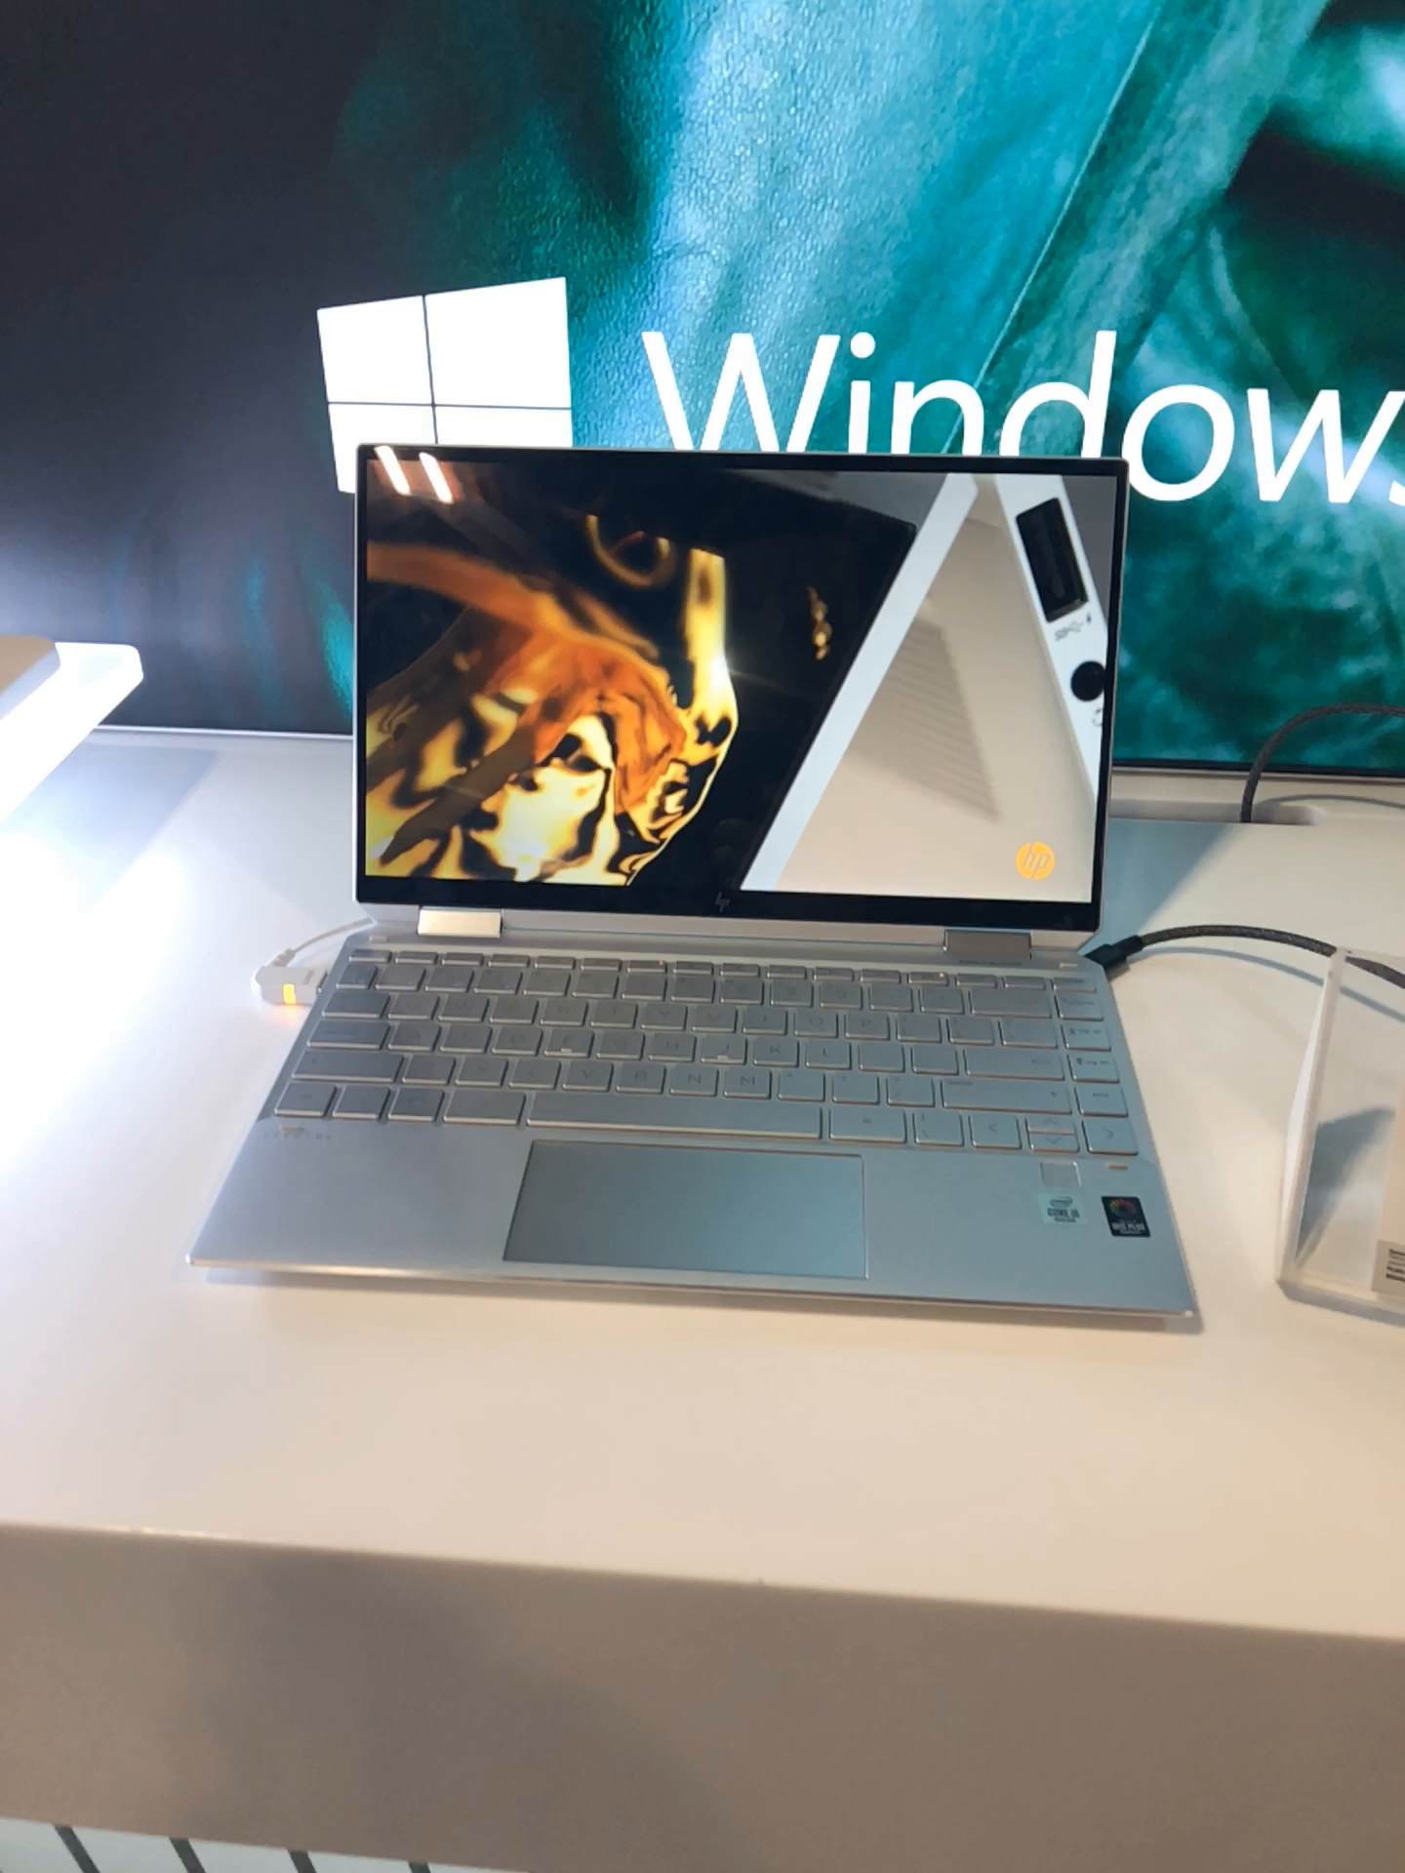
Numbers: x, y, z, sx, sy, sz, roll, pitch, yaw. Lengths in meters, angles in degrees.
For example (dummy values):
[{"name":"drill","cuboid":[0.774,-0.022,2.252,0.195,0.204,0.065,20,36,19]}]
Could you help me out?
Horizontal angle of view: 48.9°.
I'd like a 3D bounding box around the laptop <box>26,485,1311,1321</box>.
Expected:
[{"name":"laptop","cuboid":[-0.003,-0.029,0.500,0.281,0.194,0.241,3,26,3]}]
